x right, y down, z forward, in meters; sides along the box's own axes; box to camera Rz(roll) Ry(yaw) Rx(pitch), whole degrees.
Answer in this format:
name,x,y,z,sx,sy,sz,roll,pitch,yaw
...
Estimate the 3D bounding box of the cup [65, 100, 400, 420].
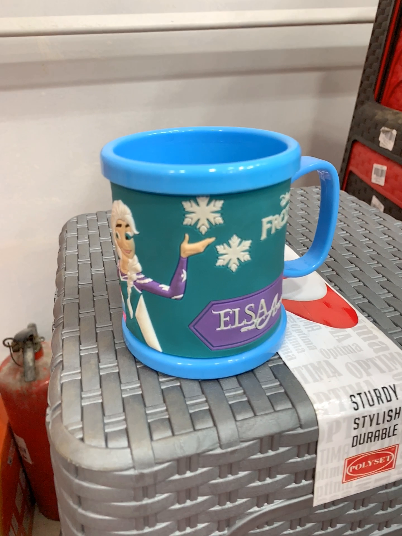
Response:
name,x,y,z,sx,sy,sz,roll,pitch,yaw
cup,0.012,-0.016,0.193,0.110,0.099,0.080,-17,31,-26
